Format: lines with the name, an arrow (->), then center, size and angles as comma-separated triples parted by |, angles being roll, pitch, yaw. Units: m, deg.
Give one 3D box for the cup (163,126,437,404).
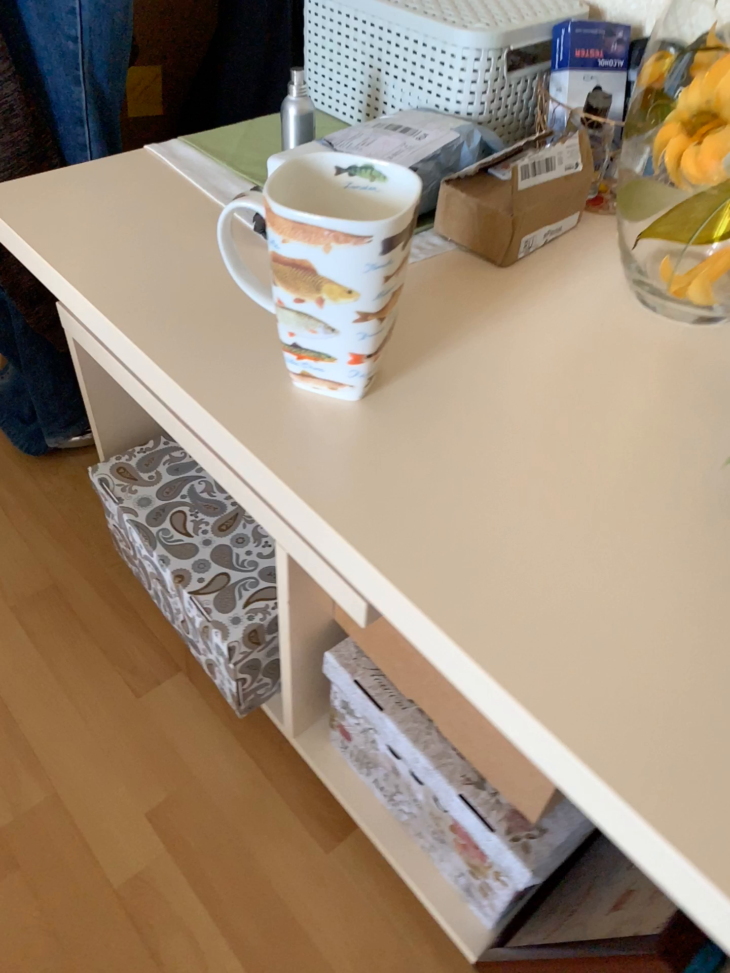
cup -> -0.038, -0.143, 0.483 | 0.139, 0.121, 0.092 | 14, 46, 9
